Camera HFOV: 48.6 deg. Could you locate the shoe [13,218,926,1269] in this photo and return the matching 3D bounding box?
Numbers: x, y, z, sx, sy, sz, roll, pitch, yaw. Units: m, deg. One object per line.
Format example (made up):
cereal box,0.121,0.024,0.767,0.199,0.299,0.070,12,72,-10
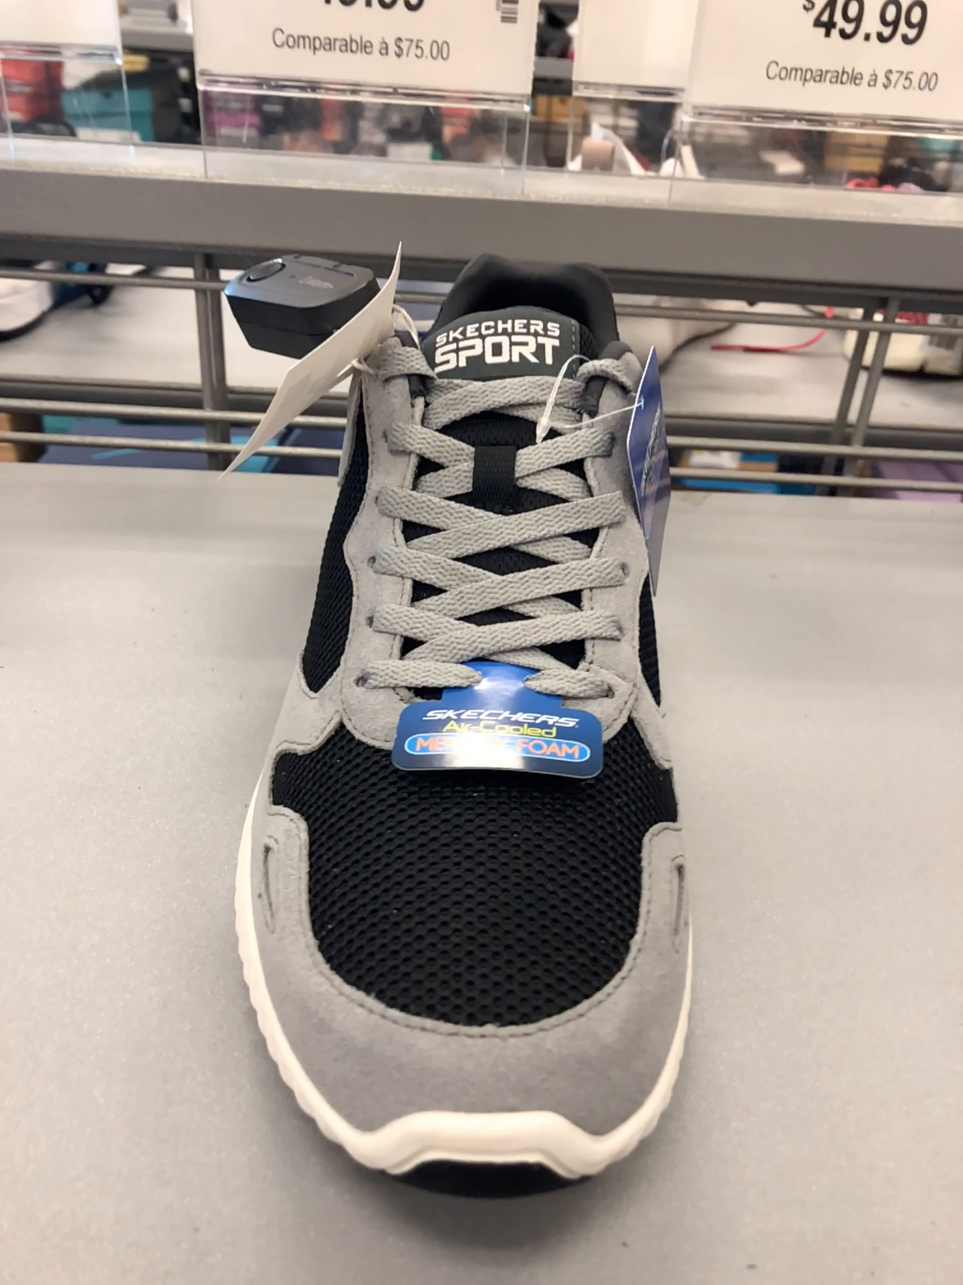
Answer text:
shoe,0.004,-0.019,0.298,0.120,0.119,0.302,6,33,1
